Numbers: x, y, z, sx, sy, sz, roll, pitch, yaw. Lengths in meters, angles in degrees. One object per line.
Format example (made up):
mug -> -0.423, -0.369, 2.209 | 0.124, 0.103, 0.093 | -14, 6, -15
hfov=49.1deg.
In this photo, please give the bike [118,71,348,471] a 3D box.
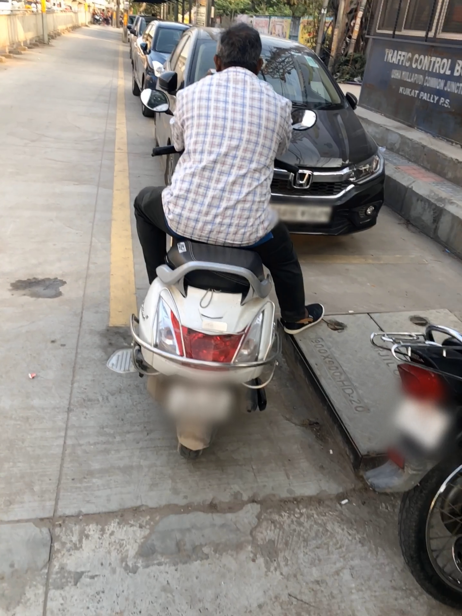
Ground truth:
bike -> 0.000, -0.320, 2.232 | 0.640, 0.858, 1.609 | 5, 37, -2
